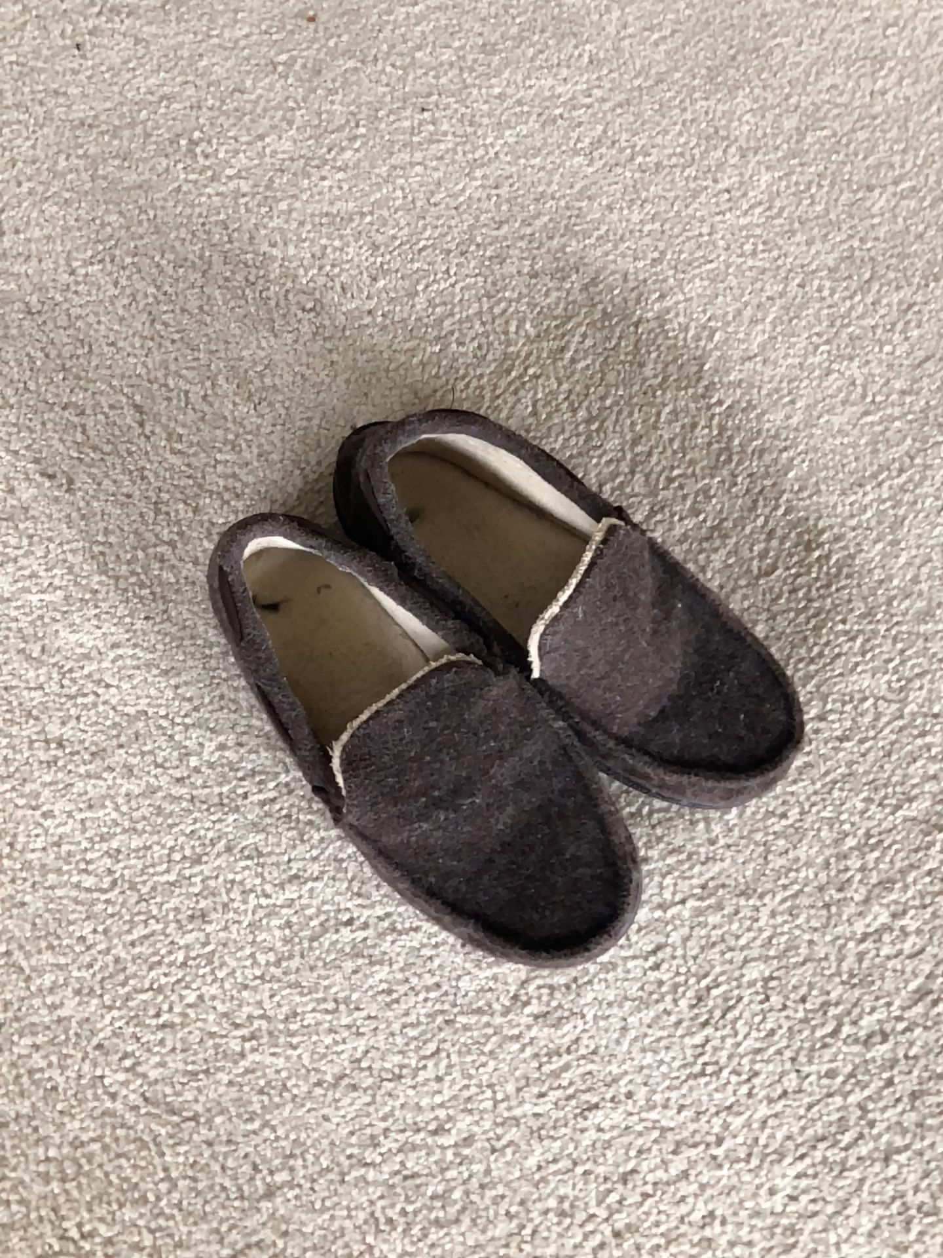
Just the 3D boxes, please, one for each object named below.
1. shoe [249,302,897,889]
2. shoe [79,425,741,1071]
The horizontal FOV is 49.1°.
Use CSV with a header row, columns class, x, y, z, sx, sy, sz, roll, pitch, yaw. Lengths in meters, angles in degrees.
class,x,y,z,sx,sy,sz,roll,pitch,yaw
shoe,0.045,-0.014,0.552,0.316,0.096,0.119,40,77,7
shoe,-0.034,0.057,0.534,0.317,0.096,0.120,43,77,7
